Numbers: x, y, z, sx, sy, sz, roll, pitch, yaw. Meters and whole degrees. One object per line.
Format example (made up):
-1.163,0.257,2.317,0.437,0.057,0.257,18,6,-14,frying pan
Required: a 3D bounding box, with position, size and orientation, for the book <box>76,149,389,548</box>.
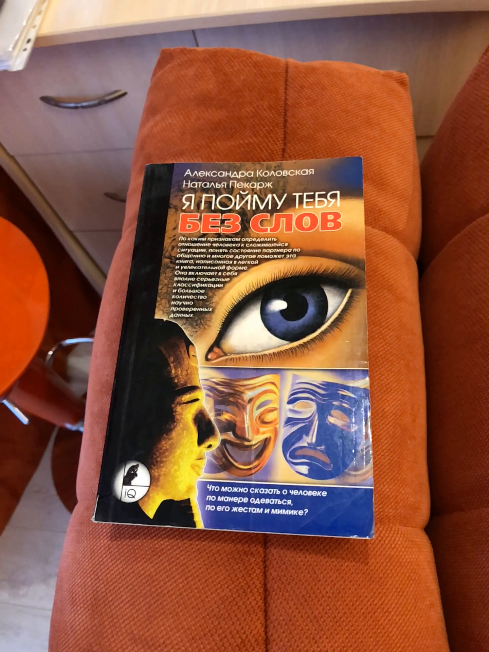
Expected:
0.000,0.003,0.267,0.128,0.030,0.191,0,68,9,book
